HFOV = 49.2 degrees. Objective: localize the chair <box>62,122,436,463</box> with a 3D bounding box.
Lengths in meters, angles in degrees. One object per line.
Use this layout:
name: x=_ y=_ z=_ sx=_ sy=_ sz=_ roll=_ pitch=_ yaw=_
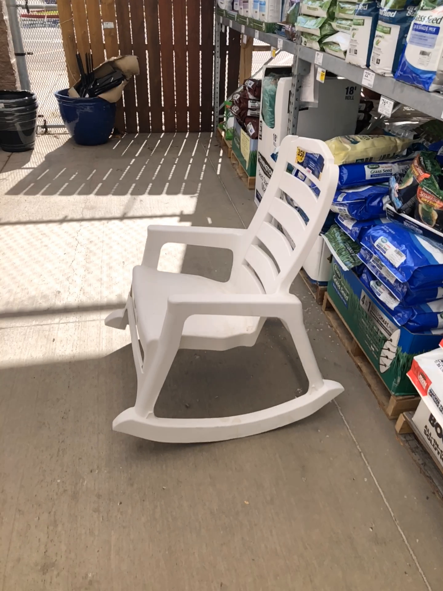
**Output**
chair: x=-0.002 y=-0.088 z=1.872 sx=1.032 sy=0.927 sz=0.848 roll=-5 pitch=33 yaw=-13
